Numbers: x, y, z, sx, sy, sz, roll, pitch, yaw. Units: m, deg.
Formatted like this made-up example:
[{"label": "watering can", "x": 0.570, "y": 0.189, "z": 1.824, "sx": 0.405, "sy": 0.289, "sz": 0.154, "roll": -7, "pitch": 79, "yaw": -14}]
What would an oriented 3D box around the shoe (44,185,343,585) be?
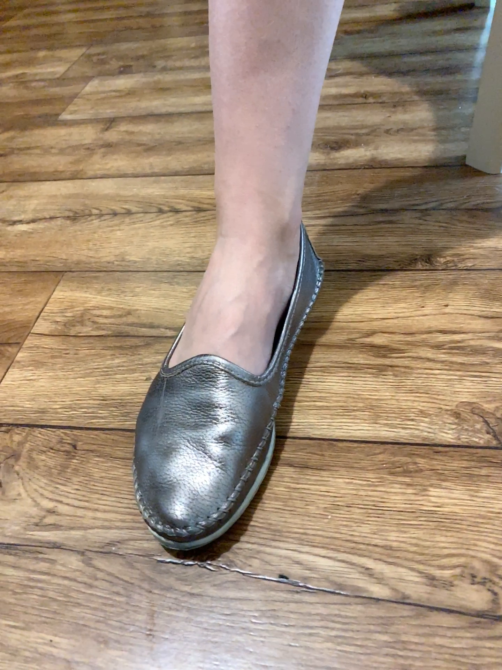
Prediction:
[{"label": "shoe", "x": -0.015, "y": 0.013, "z": 0.322, "sx": 0.095, "sy": 0.070, "sz": 0.231, "roll": 9, "pitch": 57, "yaw": 18}]
